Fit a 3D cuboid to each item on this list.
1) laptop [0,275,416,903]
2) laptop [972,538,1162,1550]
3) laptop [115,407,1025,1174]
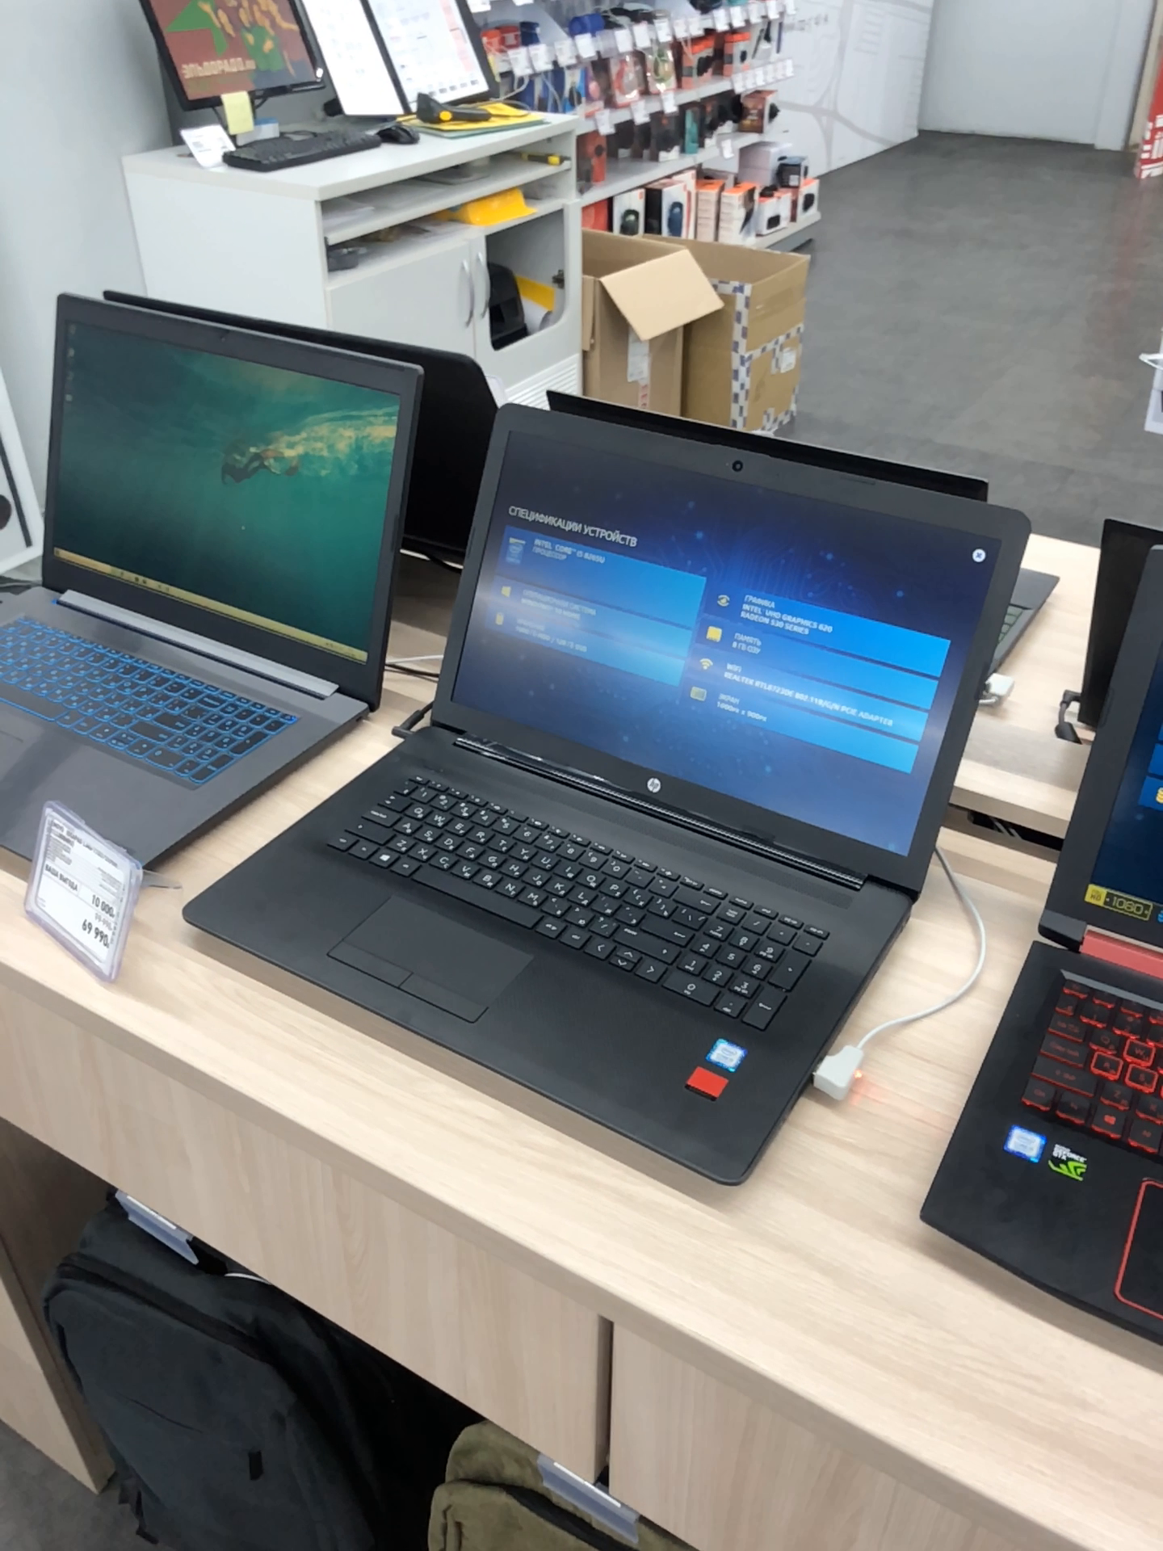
[{"bbox_3d":[-0.386,-0.179,0.980,0.380,0.226,0.373,20,40,22],"label":"laptop"},{"bbox_3d":[0.422,0.110,0.582,0.403,0.224,0.304,17,41,24],"label":"laptop"},{"bbox_3d":[0.011,-0.035,0.803,0.388,0.213,0.374,19,40,25],"label":"laptop"}]
